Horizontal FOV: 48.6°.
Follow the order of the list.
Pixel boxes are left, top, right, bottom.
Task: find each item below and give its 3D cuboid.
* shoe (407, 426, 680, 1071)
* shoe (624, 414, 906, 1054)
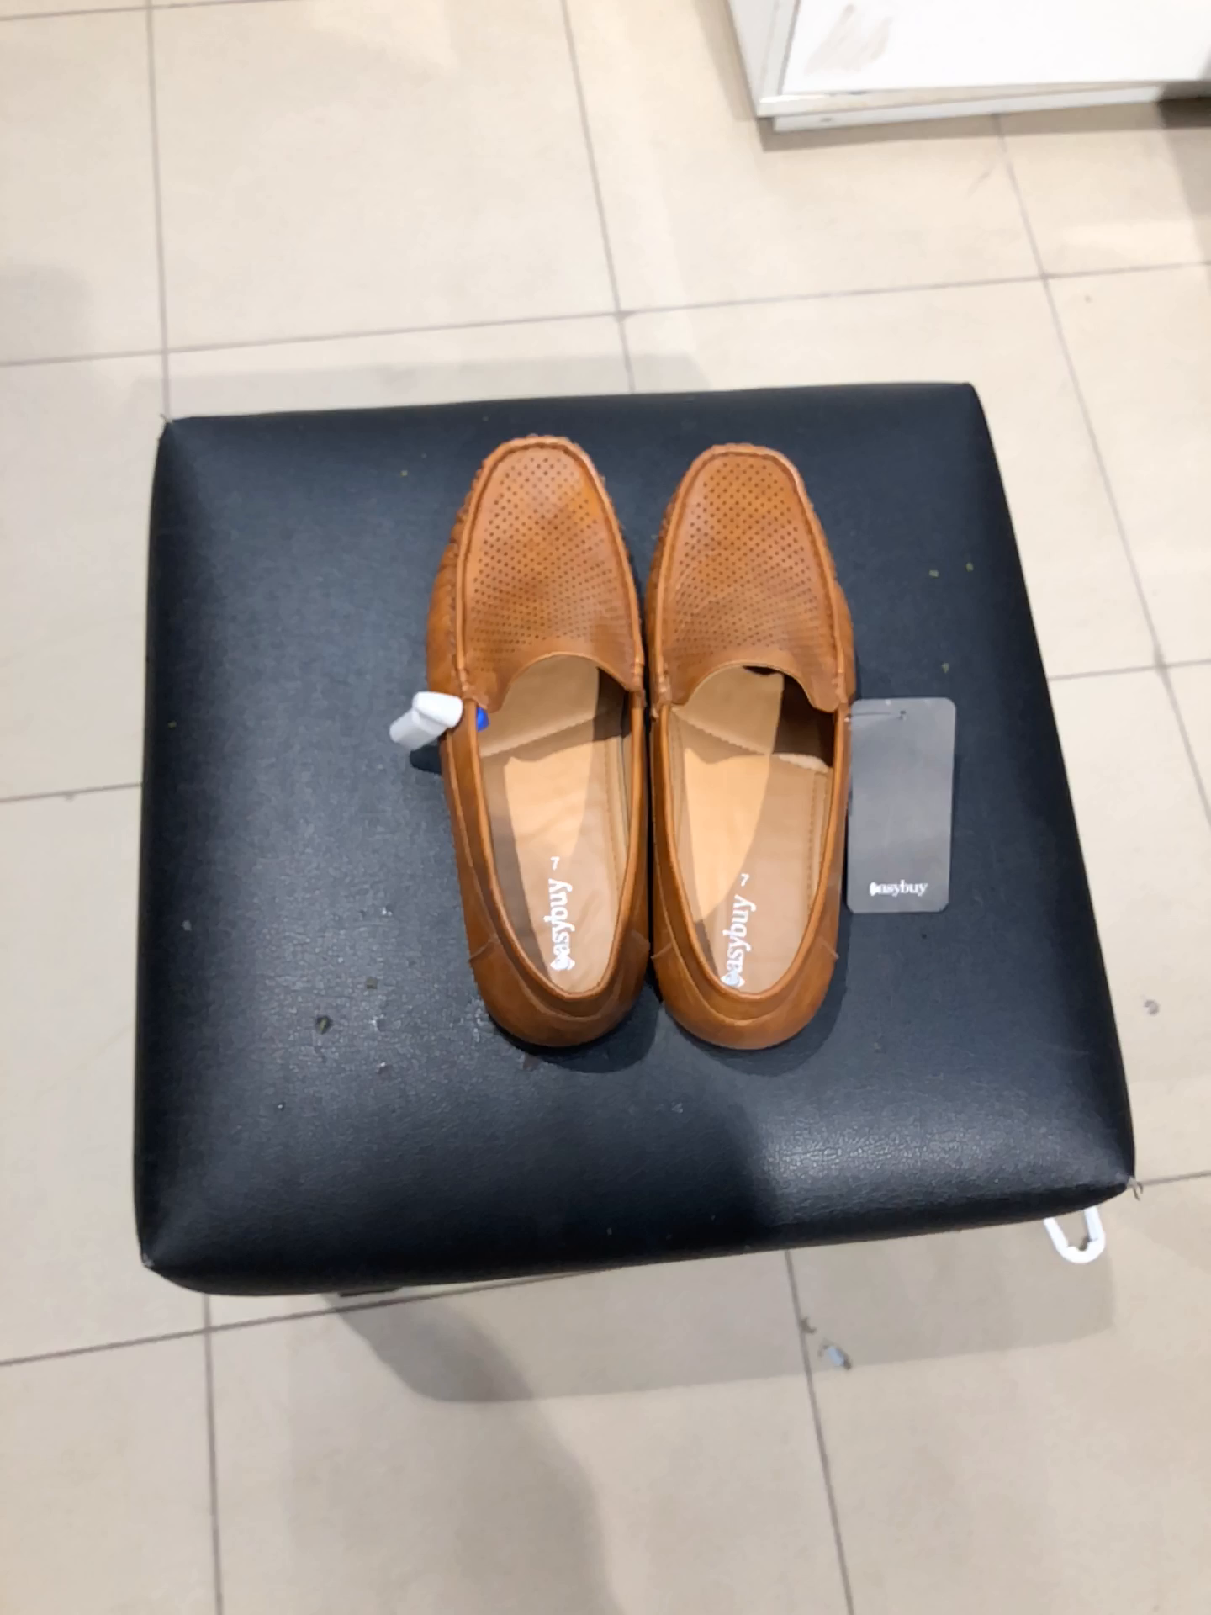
[{"bbox_3d":[-0.029,-0.025,0.566,0.097,0.096,0.253,-1,71,-3],"label":"shoe"},{"bbox_3d":[0.062,-0.030,0.575,0.097,0.096,0.253,2,71,-2],"label":"shoe"}]
